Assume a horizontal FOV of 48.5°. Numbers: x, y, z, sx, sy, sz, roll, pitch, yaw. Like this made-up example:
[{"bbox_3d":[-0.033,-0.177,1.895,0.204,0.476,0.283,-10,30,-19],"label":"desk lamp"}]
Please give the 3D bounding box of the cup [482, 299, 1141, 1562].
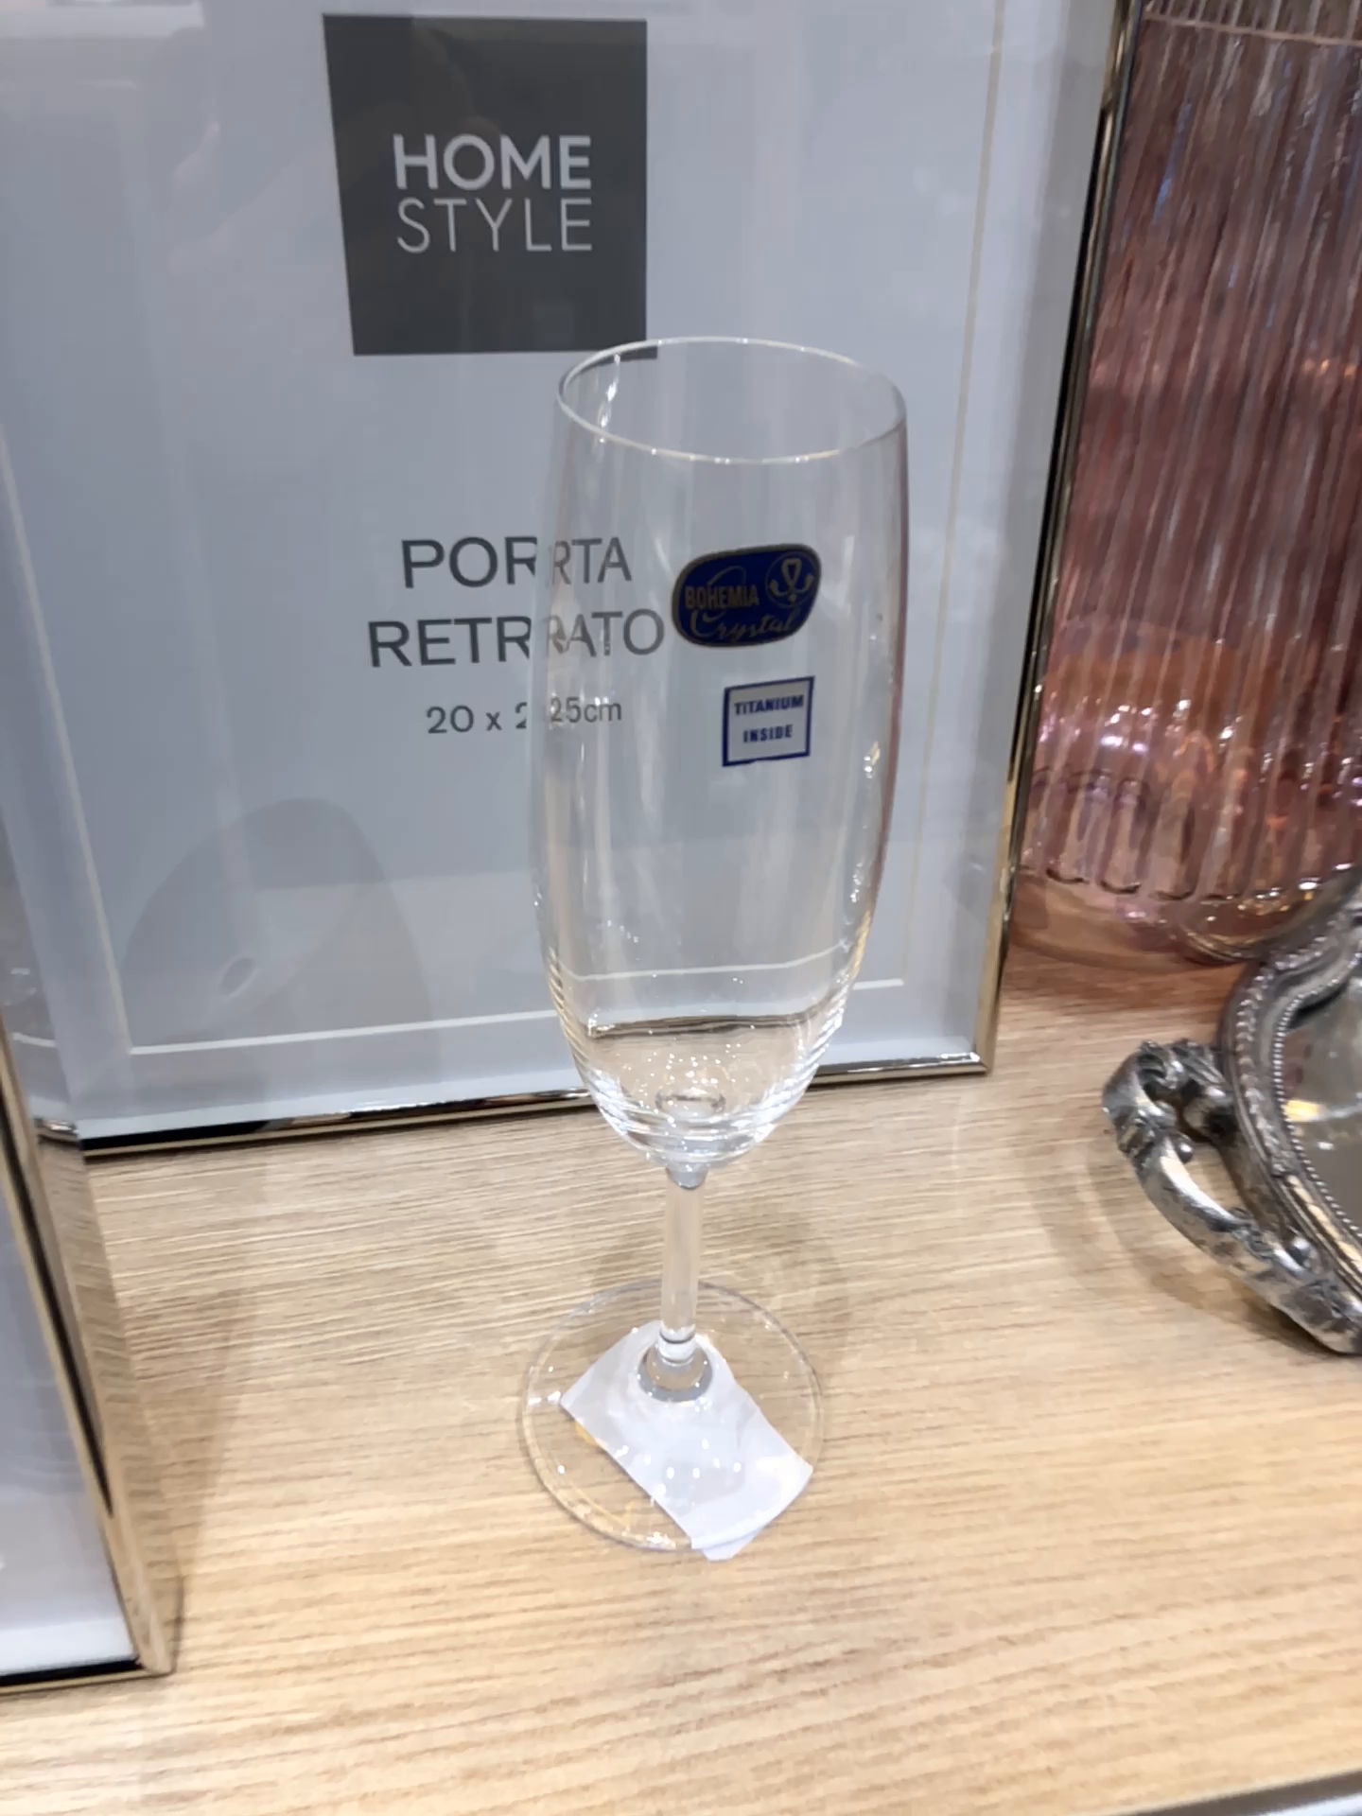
[{"bbox_3d":[0.009,0.017,0.267,0.070,0.218,0.070,2,37,-1],"label":"cup"}]
